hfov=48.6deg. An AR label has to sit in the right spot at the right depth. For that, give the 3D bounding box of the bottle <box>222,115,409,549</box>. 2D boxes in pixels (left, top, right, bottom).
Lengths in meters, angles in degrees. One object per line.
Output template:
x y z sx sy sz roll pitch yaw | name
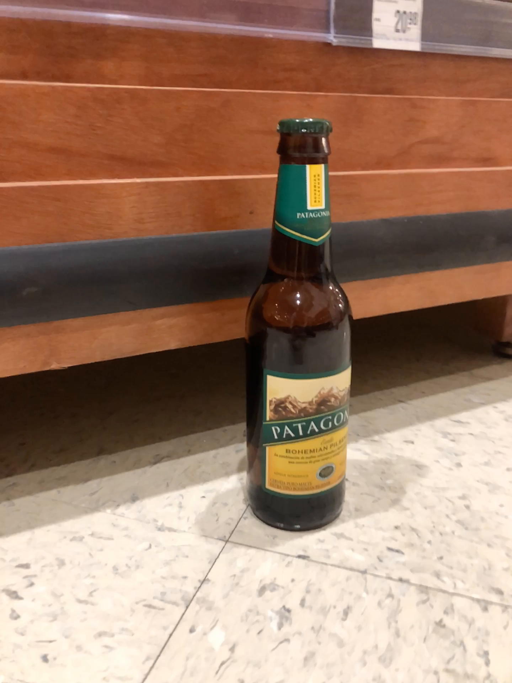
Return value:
0.027 -0.006 0.311 0.070 0.219 0.060 -9 21 -24 | bottle
